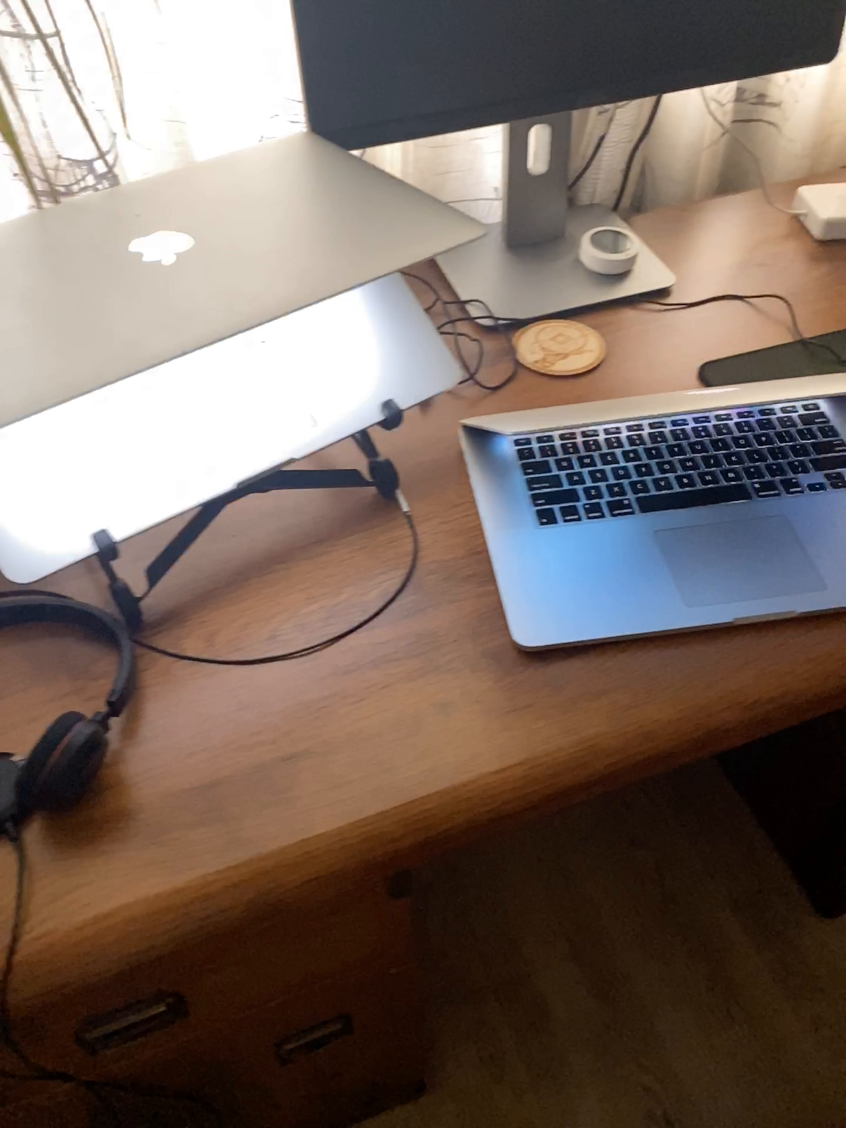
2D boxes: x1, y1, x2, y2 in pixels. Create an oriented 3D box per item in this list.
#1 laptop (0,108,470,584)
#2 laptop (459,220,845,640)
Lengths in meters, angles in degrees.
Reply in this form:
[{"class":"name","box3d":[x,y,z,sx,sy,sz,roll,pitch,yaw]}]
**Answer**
[{"class":"laptop","box3d":[-0.176,-0.175,0.608,0.355,0.022,0.243,-29,78,-21]},{"class":"laptop","box3d":[0.222,-0.105,0.630,0.355,0.152,0.236,-7,49,-4]}]
